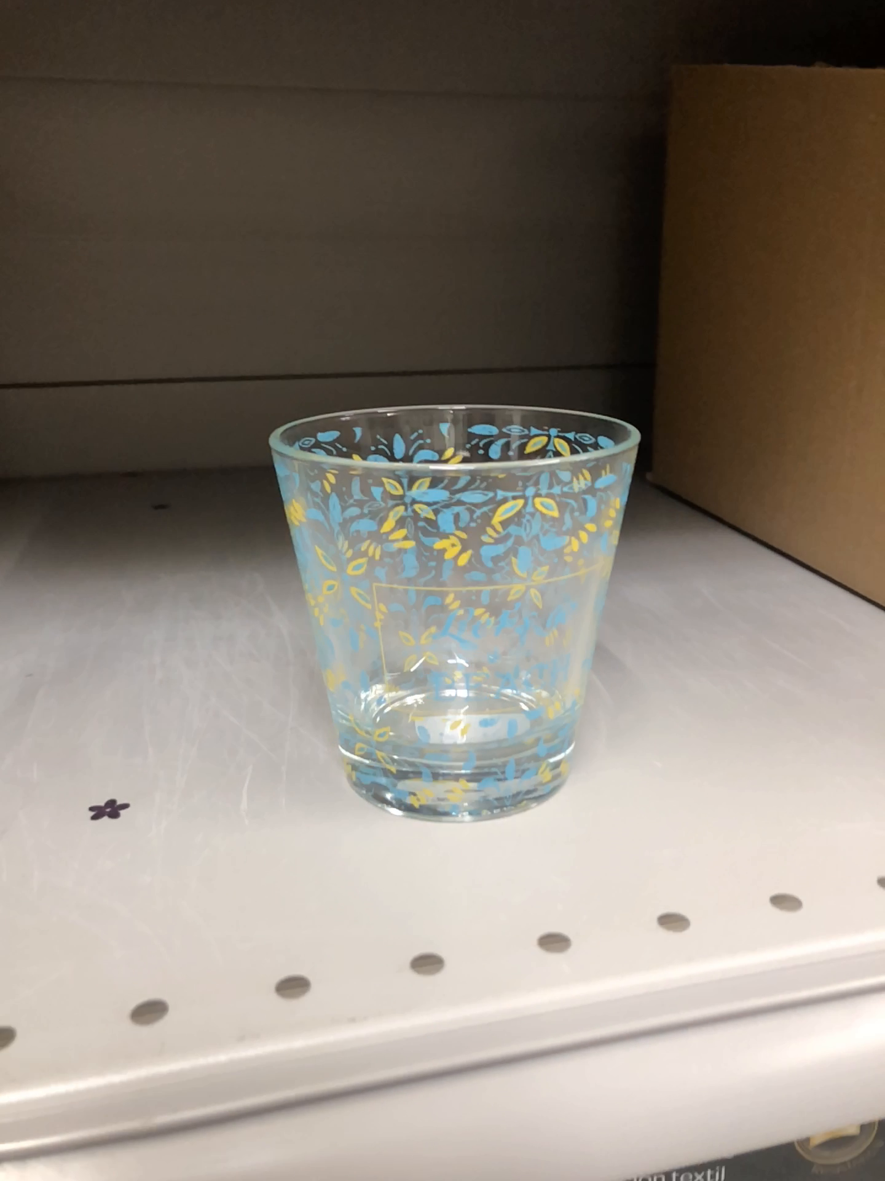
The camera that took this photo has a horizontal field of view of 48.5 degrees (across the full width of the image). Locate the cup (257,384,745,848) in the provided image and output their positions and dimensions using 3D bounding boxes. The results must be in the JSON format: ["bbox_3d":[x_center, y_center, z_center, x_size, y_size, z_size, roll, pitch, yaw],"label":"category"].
[{"bbox_3d":[0.008,-0.003,0.246,0.088,0.080,0.084,1,21,0],"label":"cup"}]
